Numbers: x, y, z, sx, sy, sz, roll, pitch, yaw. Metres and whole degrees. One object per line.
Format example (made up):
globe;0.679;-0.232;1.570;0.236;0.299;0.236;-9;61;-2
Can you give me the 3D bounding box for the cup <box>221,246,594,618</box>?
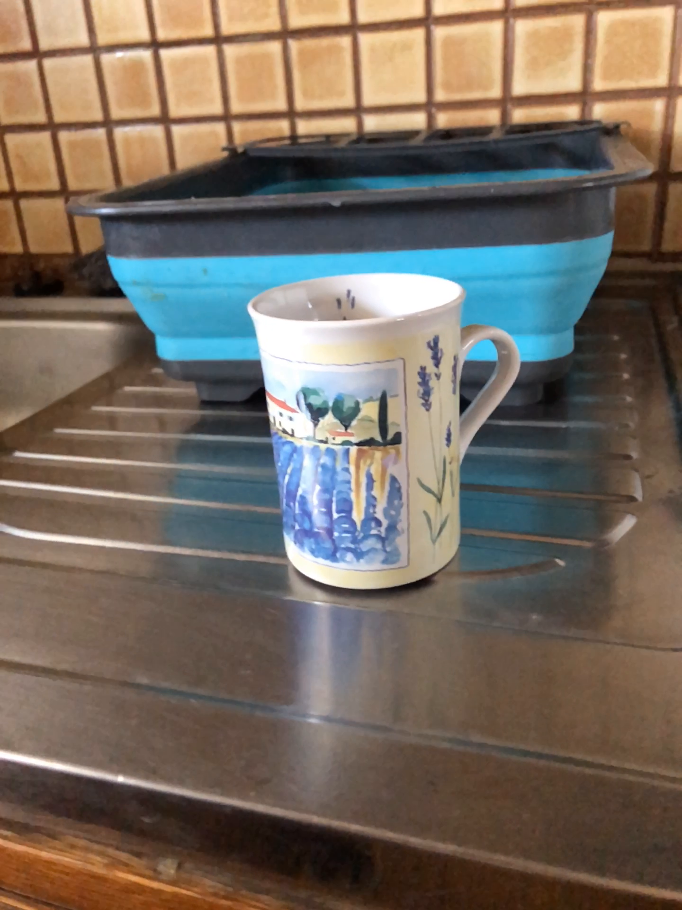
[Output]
cup;0.025;-0.016;0.287;0.110;0.099;0.070;-15;28;-23
